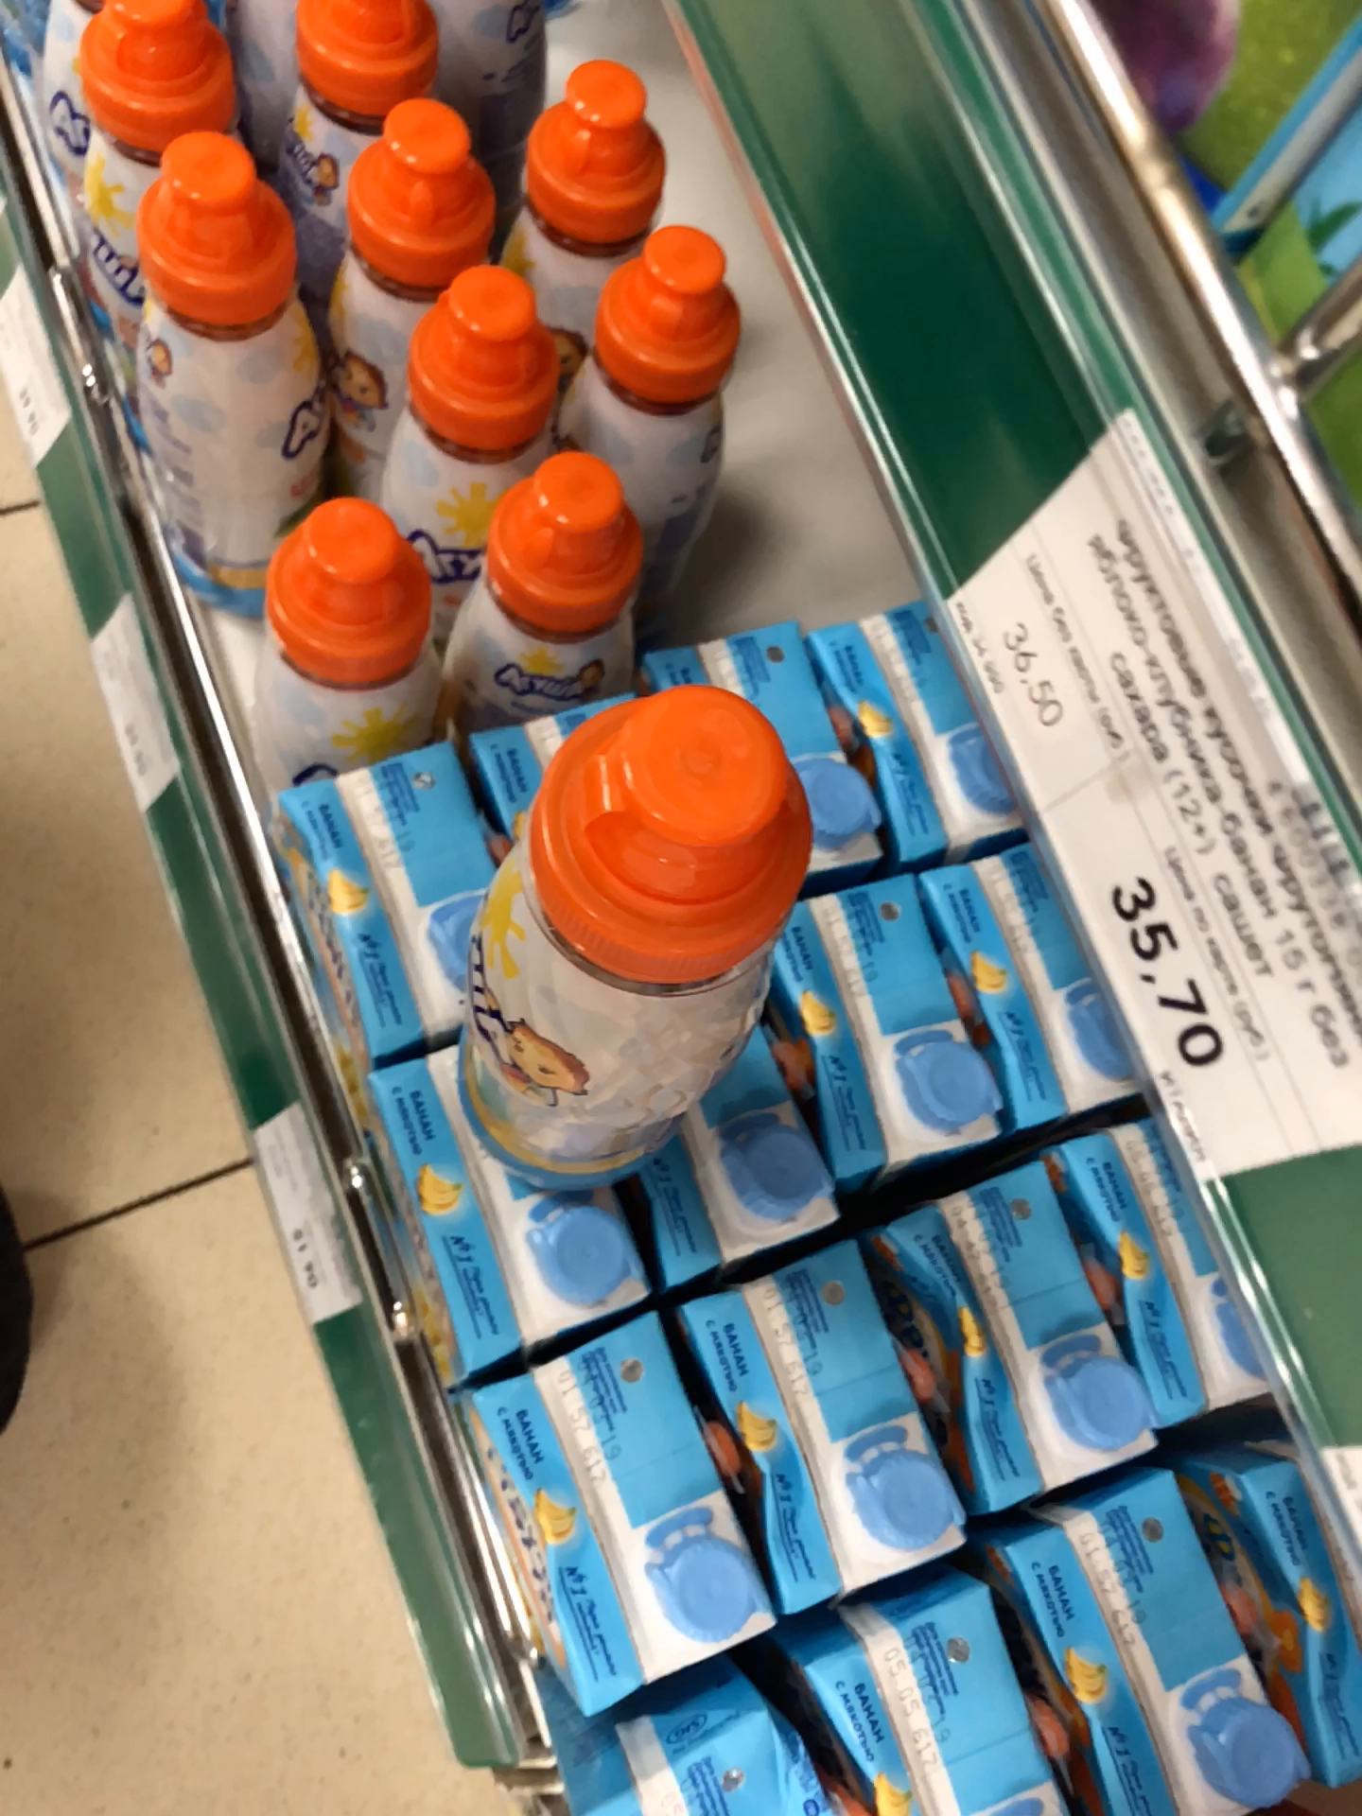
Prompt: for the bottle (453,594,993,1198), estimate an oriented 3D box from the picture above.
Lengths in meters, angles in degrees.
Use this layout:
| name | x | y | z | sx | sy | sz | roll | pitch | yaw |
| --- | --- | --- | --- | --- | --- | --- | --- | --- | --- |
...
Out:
| name | x | y | z | sx | sy | sz | roll | pitch | yaw |
| --- | --- | --- | --- | --- | --- | --- | --- | --- | --- |
| bottle | -0.009 | 0.013 | 0.284 | 0.053 | 0.194 | 0.056 | 3 | 73 | -10 |
